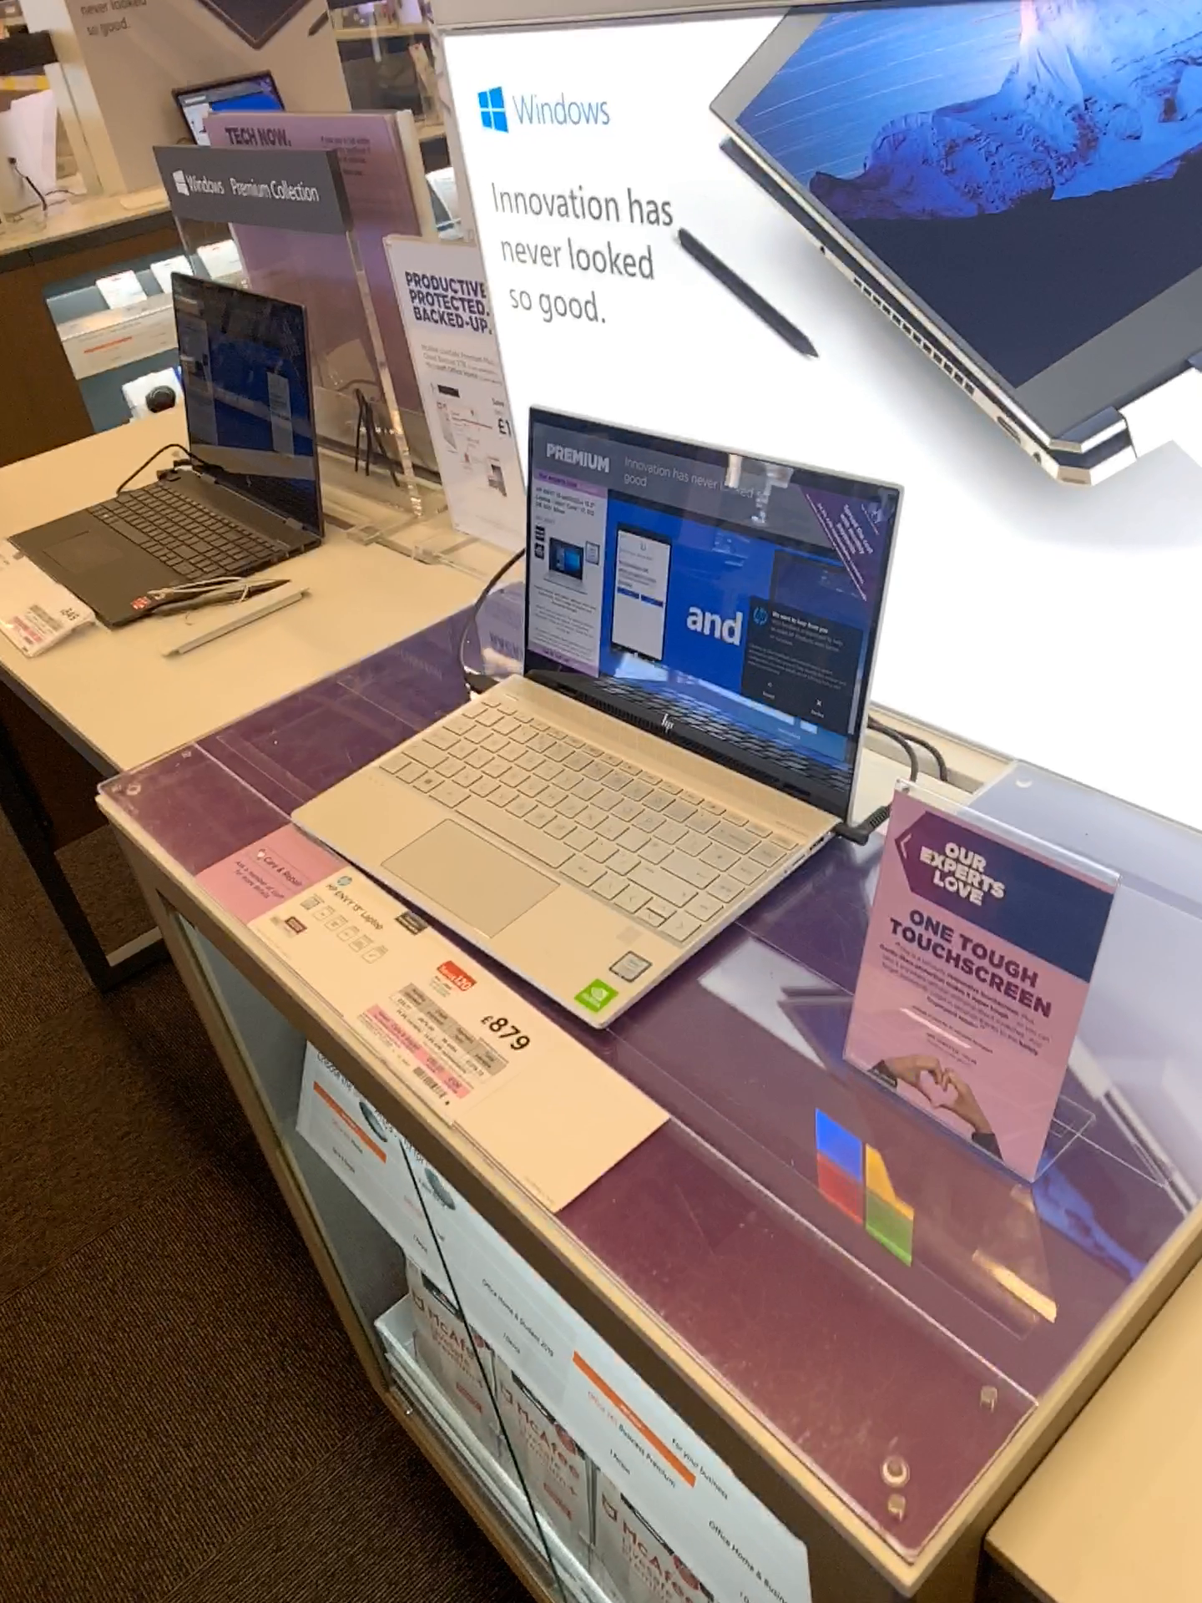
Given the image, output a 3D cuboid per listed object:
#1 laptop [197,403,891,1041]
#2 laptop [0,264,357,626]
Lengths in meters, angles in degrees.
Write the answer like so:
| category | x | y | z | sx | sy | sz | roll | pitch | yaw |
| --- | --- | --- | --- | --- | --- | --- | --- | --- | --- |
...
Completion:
| category | x | y | z | sx | sy | sz | roll | pitch | yaw |
| --- | --- | --- | --- | --- | --- | --- | --- | --- | --- |
| laptop | -0.027 | -0.075 | 0.725 | 0.261 | 0.181 | 0.297 | -35 | 43 | -29 |
| laptop | -0.523 | -0.422 | 1.410 | 0.313 | 0.236 | 0.300 | -34 | 45 | -29 |
